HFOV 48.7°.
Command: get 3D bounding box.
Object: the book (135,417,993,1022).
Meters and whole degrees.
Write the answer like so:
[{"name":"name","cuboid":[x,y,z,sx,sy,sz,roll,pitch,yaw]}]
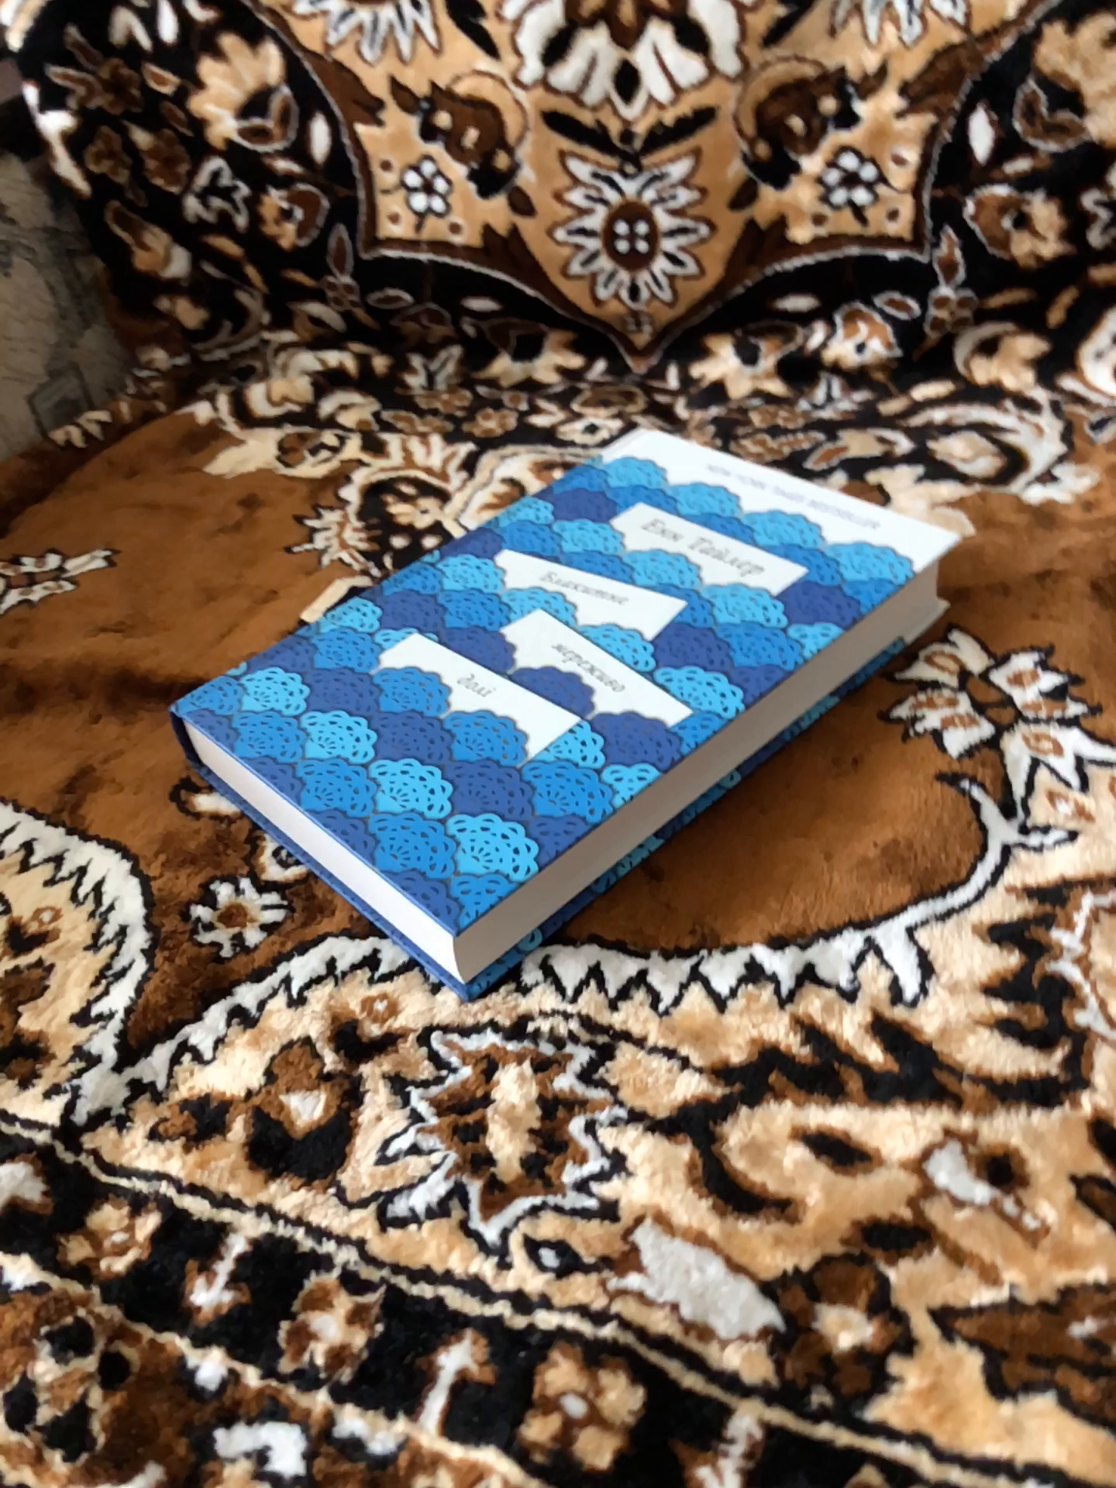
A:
[{"name":"book","cuboid":[0.006,-0.031,0.403,0.234,0.030,0.155,-34,46,-29]}]
